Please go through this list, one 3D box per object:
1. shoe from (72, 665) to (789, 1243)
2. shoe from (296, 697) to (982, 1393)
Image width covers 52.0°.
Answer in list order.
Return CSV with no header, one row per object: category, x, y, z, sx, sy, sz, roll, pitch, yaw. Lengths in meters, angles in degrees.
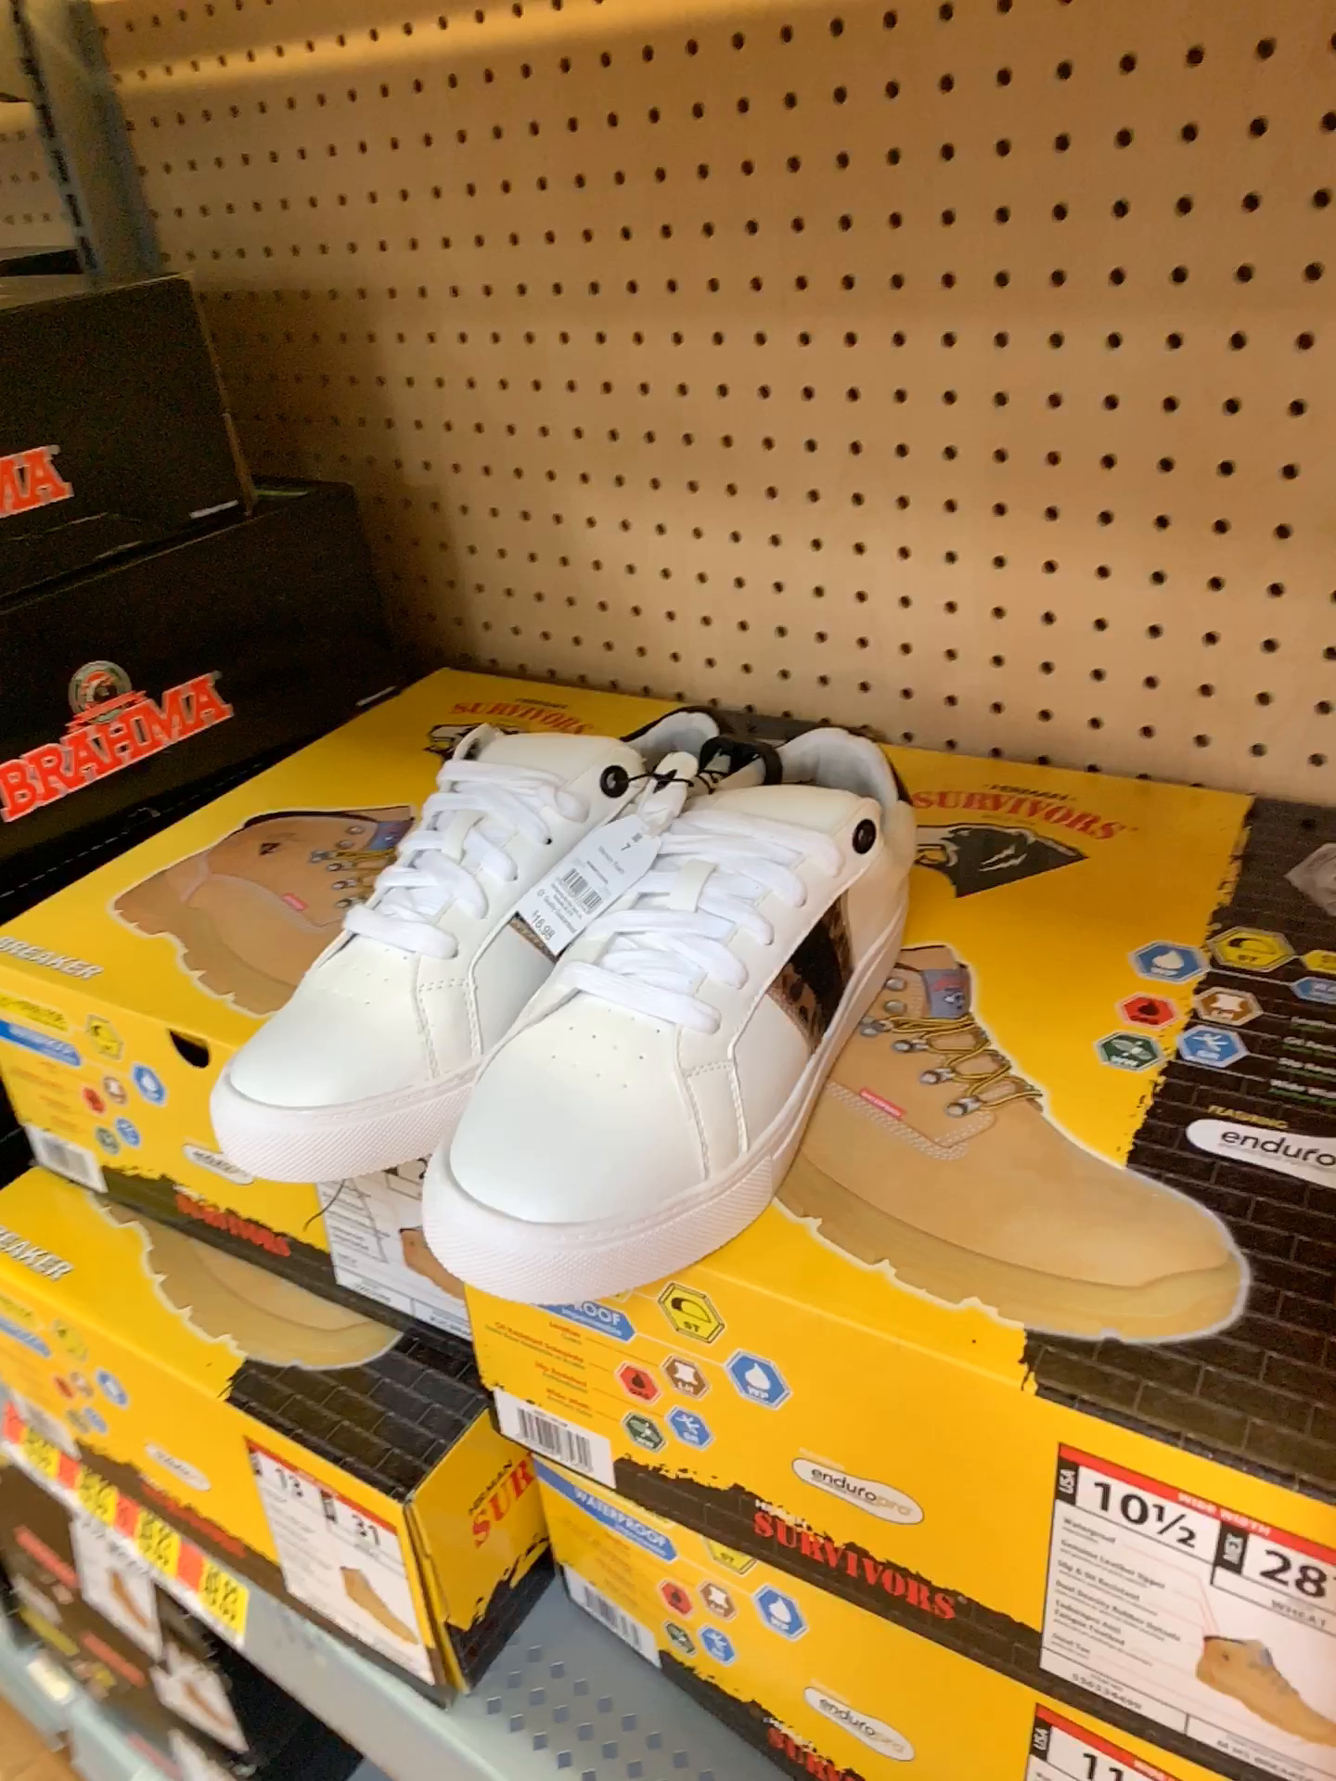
shoe,-0.068,0.004,0.496,0.100,0.072,0.245,17,39,35
shoe,0.009,0.027,0.441,0.103,0.070,0.241,15,38,26
